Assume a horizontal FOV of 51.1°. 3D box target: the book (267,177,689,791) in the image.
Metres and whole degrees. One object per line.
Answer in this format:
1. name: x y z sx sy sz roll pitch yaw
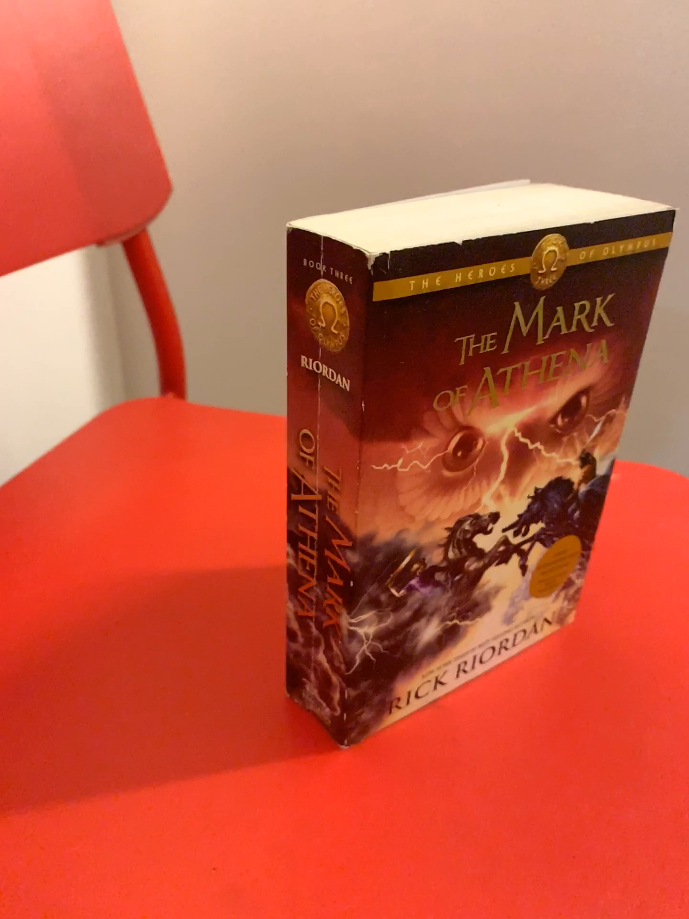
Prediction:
1. book: 0.045 0.005 0.277 0.140 0.193 0.061 -22 39 -36
